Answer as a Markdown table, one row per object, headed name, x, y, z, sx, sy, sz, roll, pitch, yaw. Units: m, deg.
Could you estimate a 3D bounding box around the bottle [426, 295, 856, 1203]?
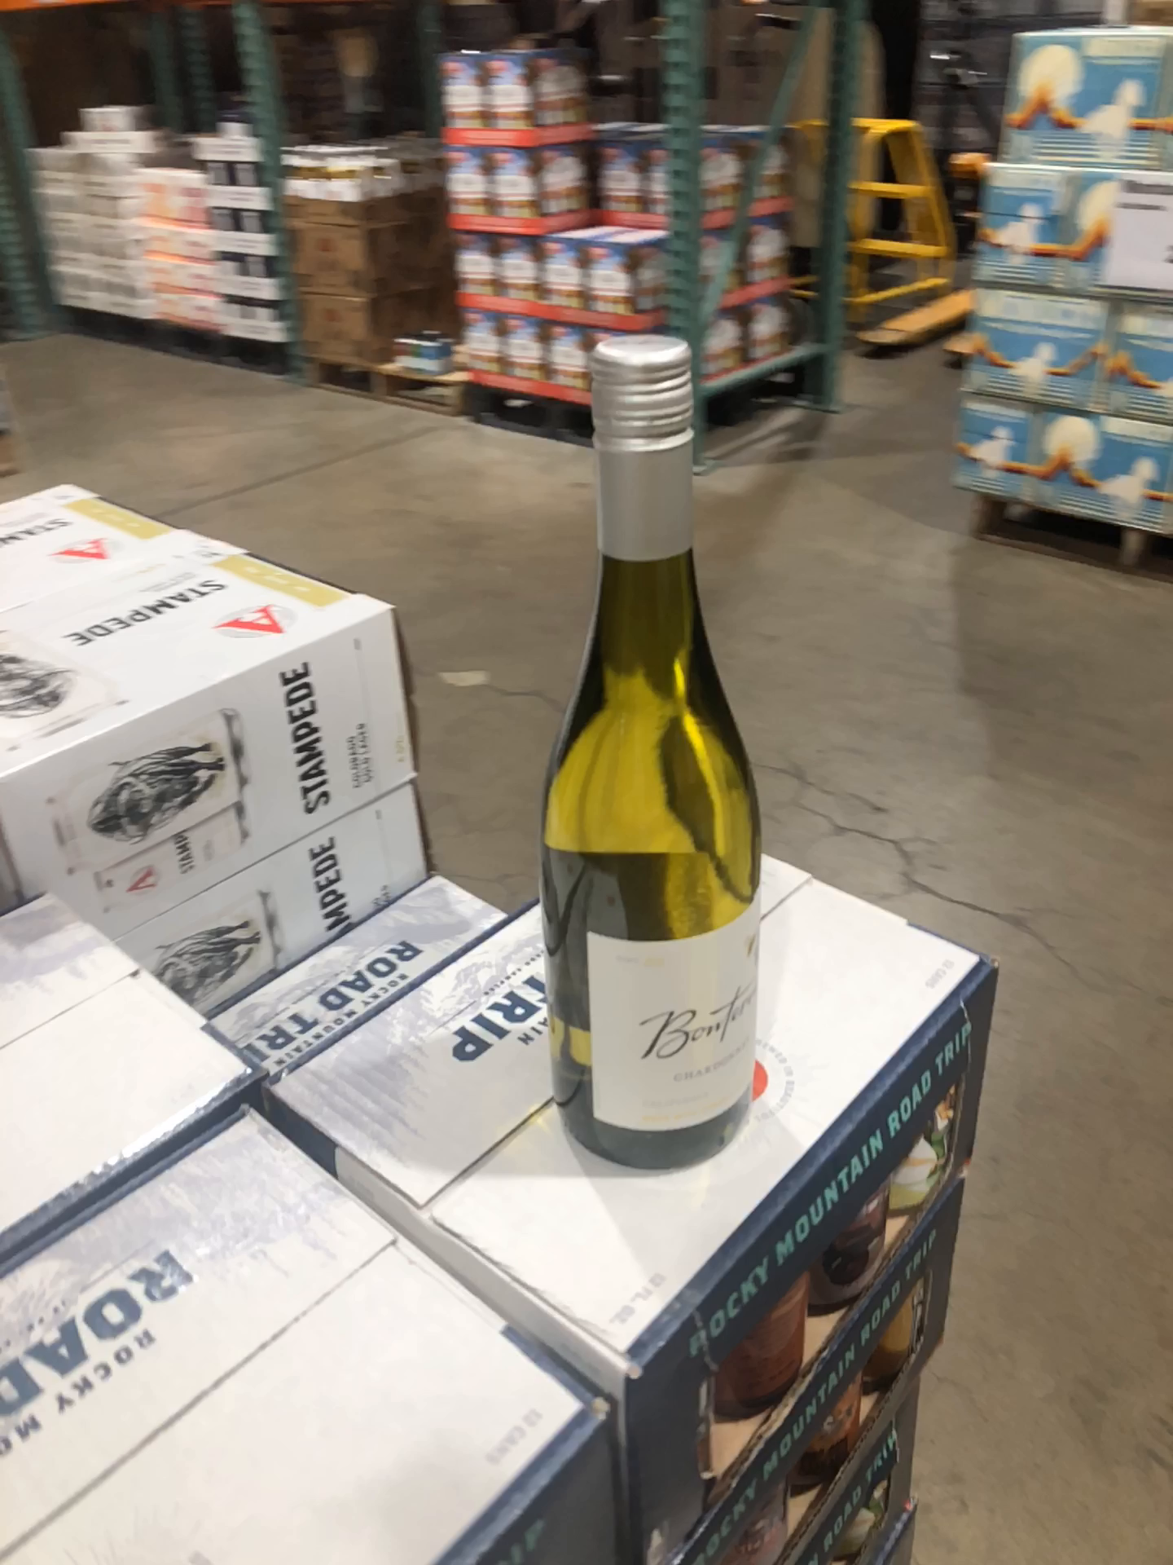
| name | x | y | z | sx | sy | sz | roll | pitch | yaw |
| --- | --- | --- | --- | --- | --- | --- | --- | --- | --- |
| bottle | 0.022 | -0.005 | 0.438 | 0.090 | 0.284 | 0.084 | -2 | 30 | 1 |
